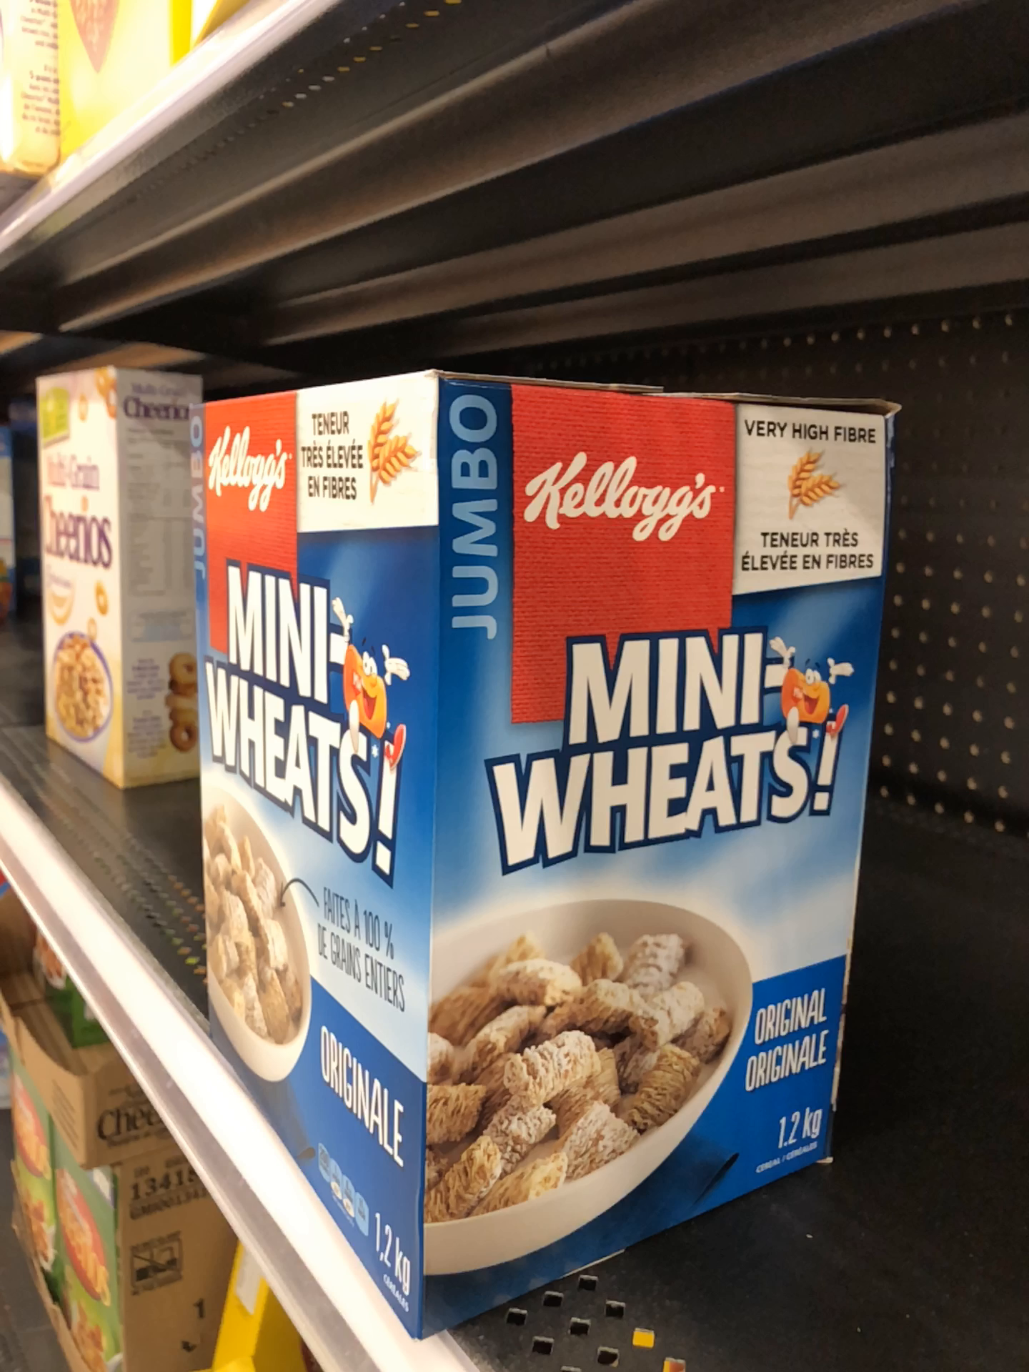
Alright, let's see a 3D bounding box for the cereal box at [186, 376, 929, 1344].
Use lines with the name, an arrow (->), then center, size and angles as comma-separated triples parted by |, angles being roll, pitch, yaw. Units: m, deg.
cereal box -> -0.001, 0.028, 0.410 | 0.170, 0.249, 0.201 | -5, 12, -31
